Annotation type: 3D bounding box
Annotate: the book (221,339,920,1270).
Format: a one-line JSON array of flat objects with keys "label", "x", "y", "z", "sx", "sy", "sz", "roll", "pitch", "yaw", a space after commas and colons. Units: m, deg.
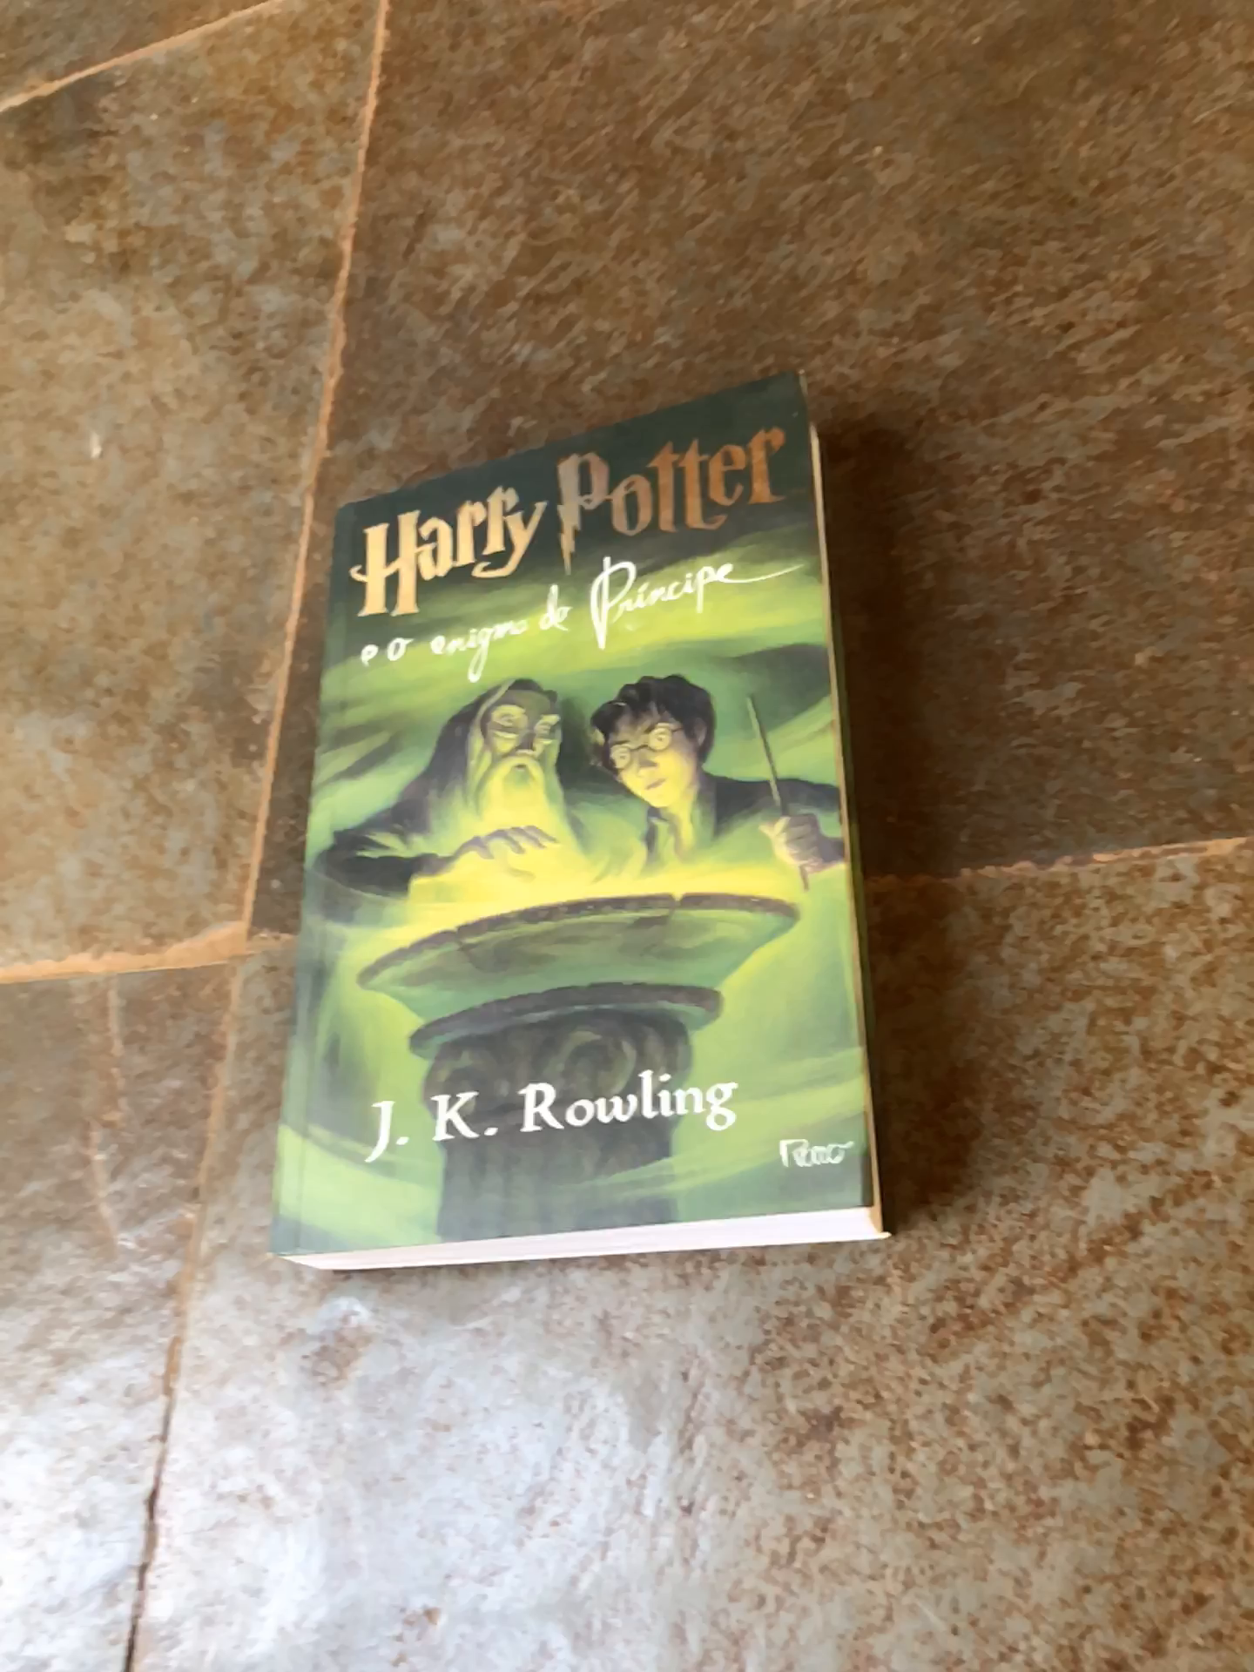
[{"label": "book", "x": -0.015, "y": -0.008, "z": 0.324, "sx": 0.142, "sy": 0.030, "sz": 0.201, "roll": -9, "pitch": 65, "yaw": 20}]
